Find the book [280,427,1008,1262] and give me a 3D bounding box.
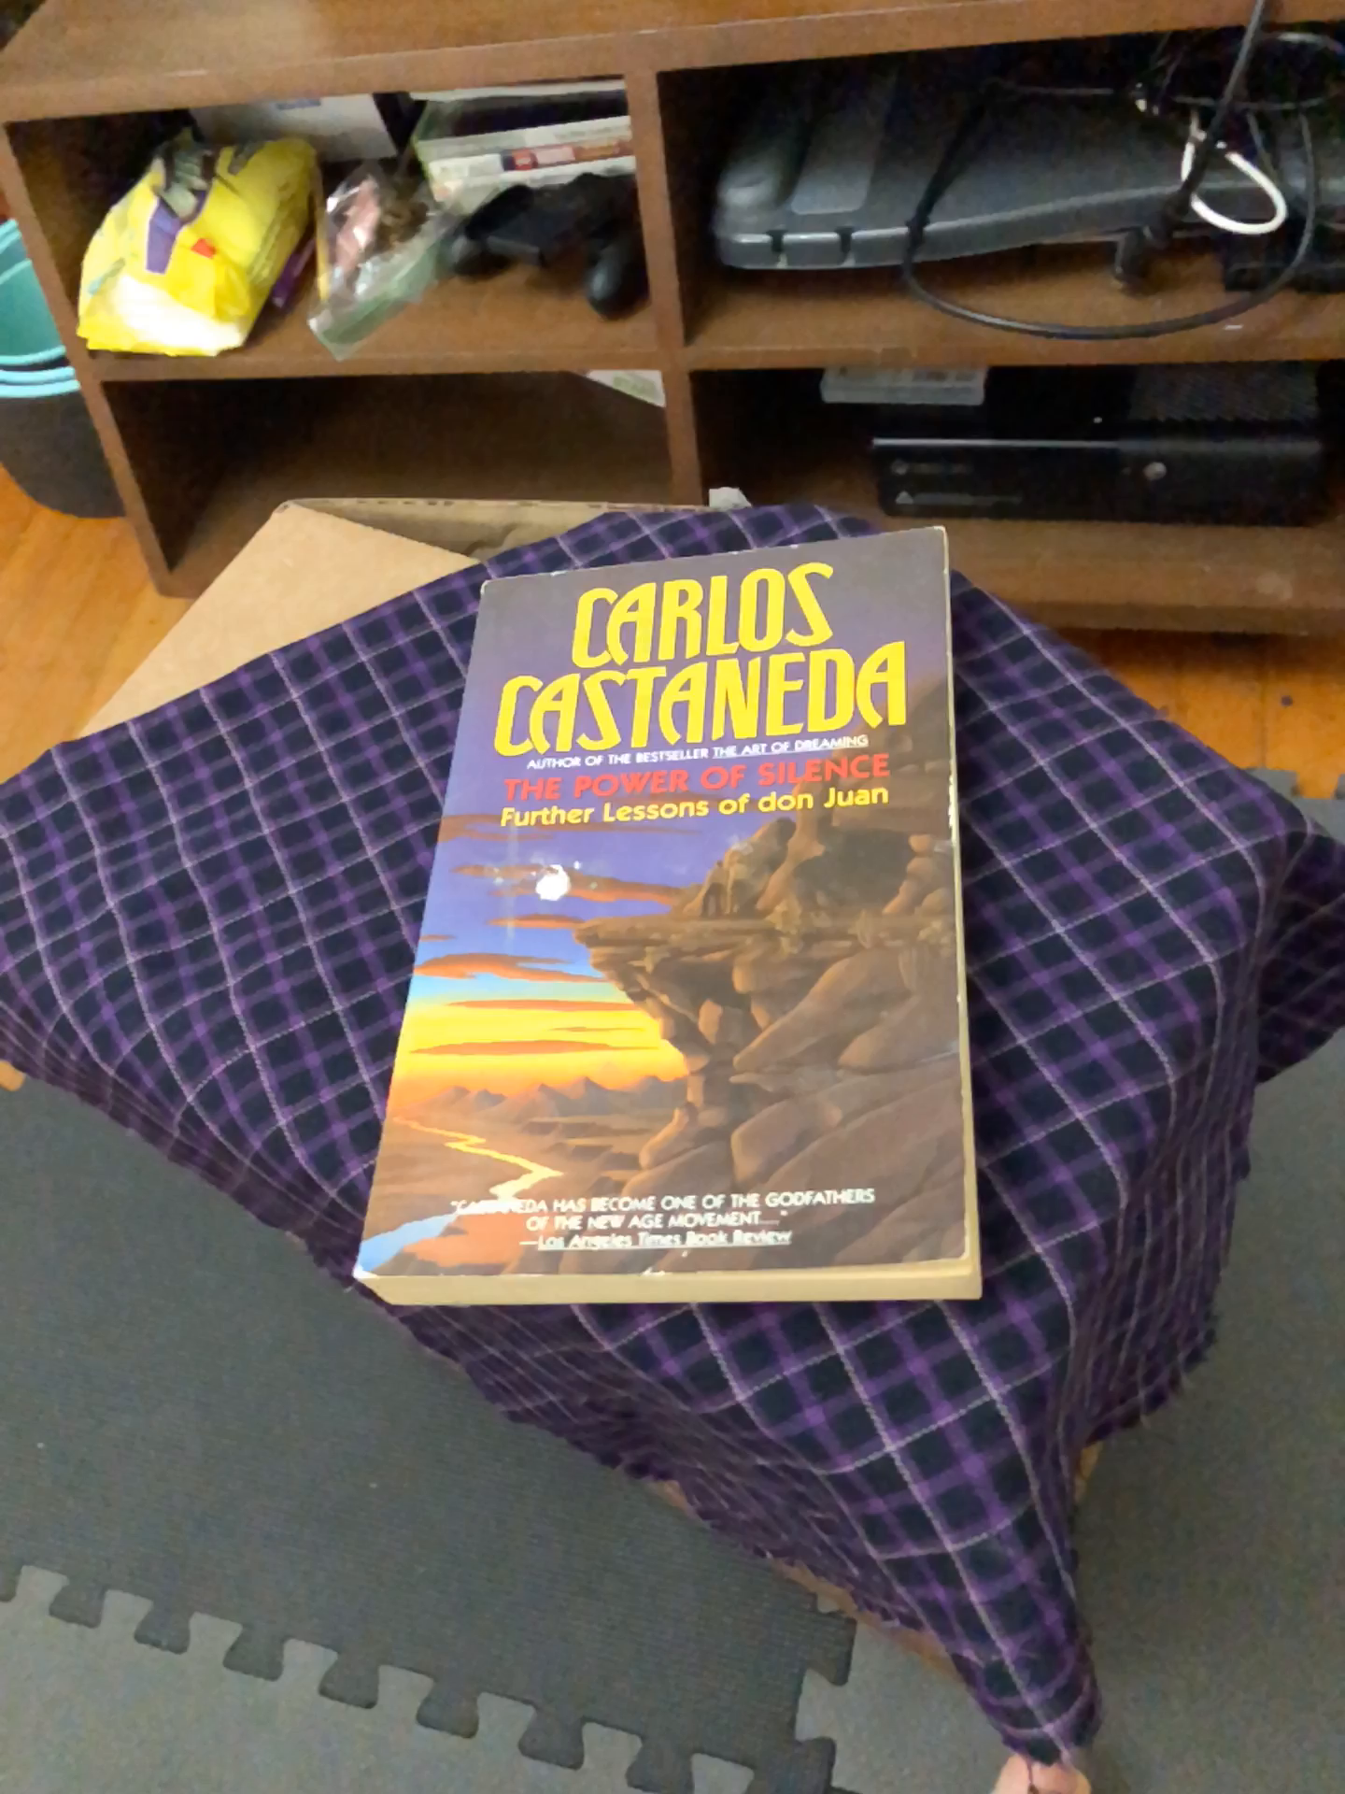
[{"bbox_3d":[0.001,-0.023,0.363,0.150,0.020,0.221,-3,58,13],"label":"book"}]
